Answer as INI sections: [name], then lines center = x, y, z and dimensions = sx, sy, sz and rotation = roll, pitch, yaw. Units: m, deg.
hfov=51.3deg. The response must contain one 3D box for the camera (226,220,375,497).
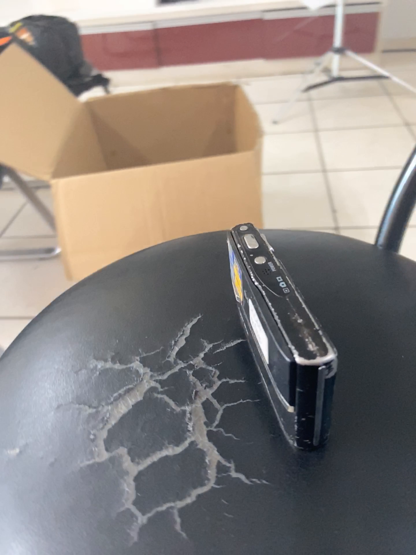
[camera]
center = 0.032, 0.028, 0.186
dimensions = 0.020, 0.060, 0.101
rotation = -13, 40, -6
